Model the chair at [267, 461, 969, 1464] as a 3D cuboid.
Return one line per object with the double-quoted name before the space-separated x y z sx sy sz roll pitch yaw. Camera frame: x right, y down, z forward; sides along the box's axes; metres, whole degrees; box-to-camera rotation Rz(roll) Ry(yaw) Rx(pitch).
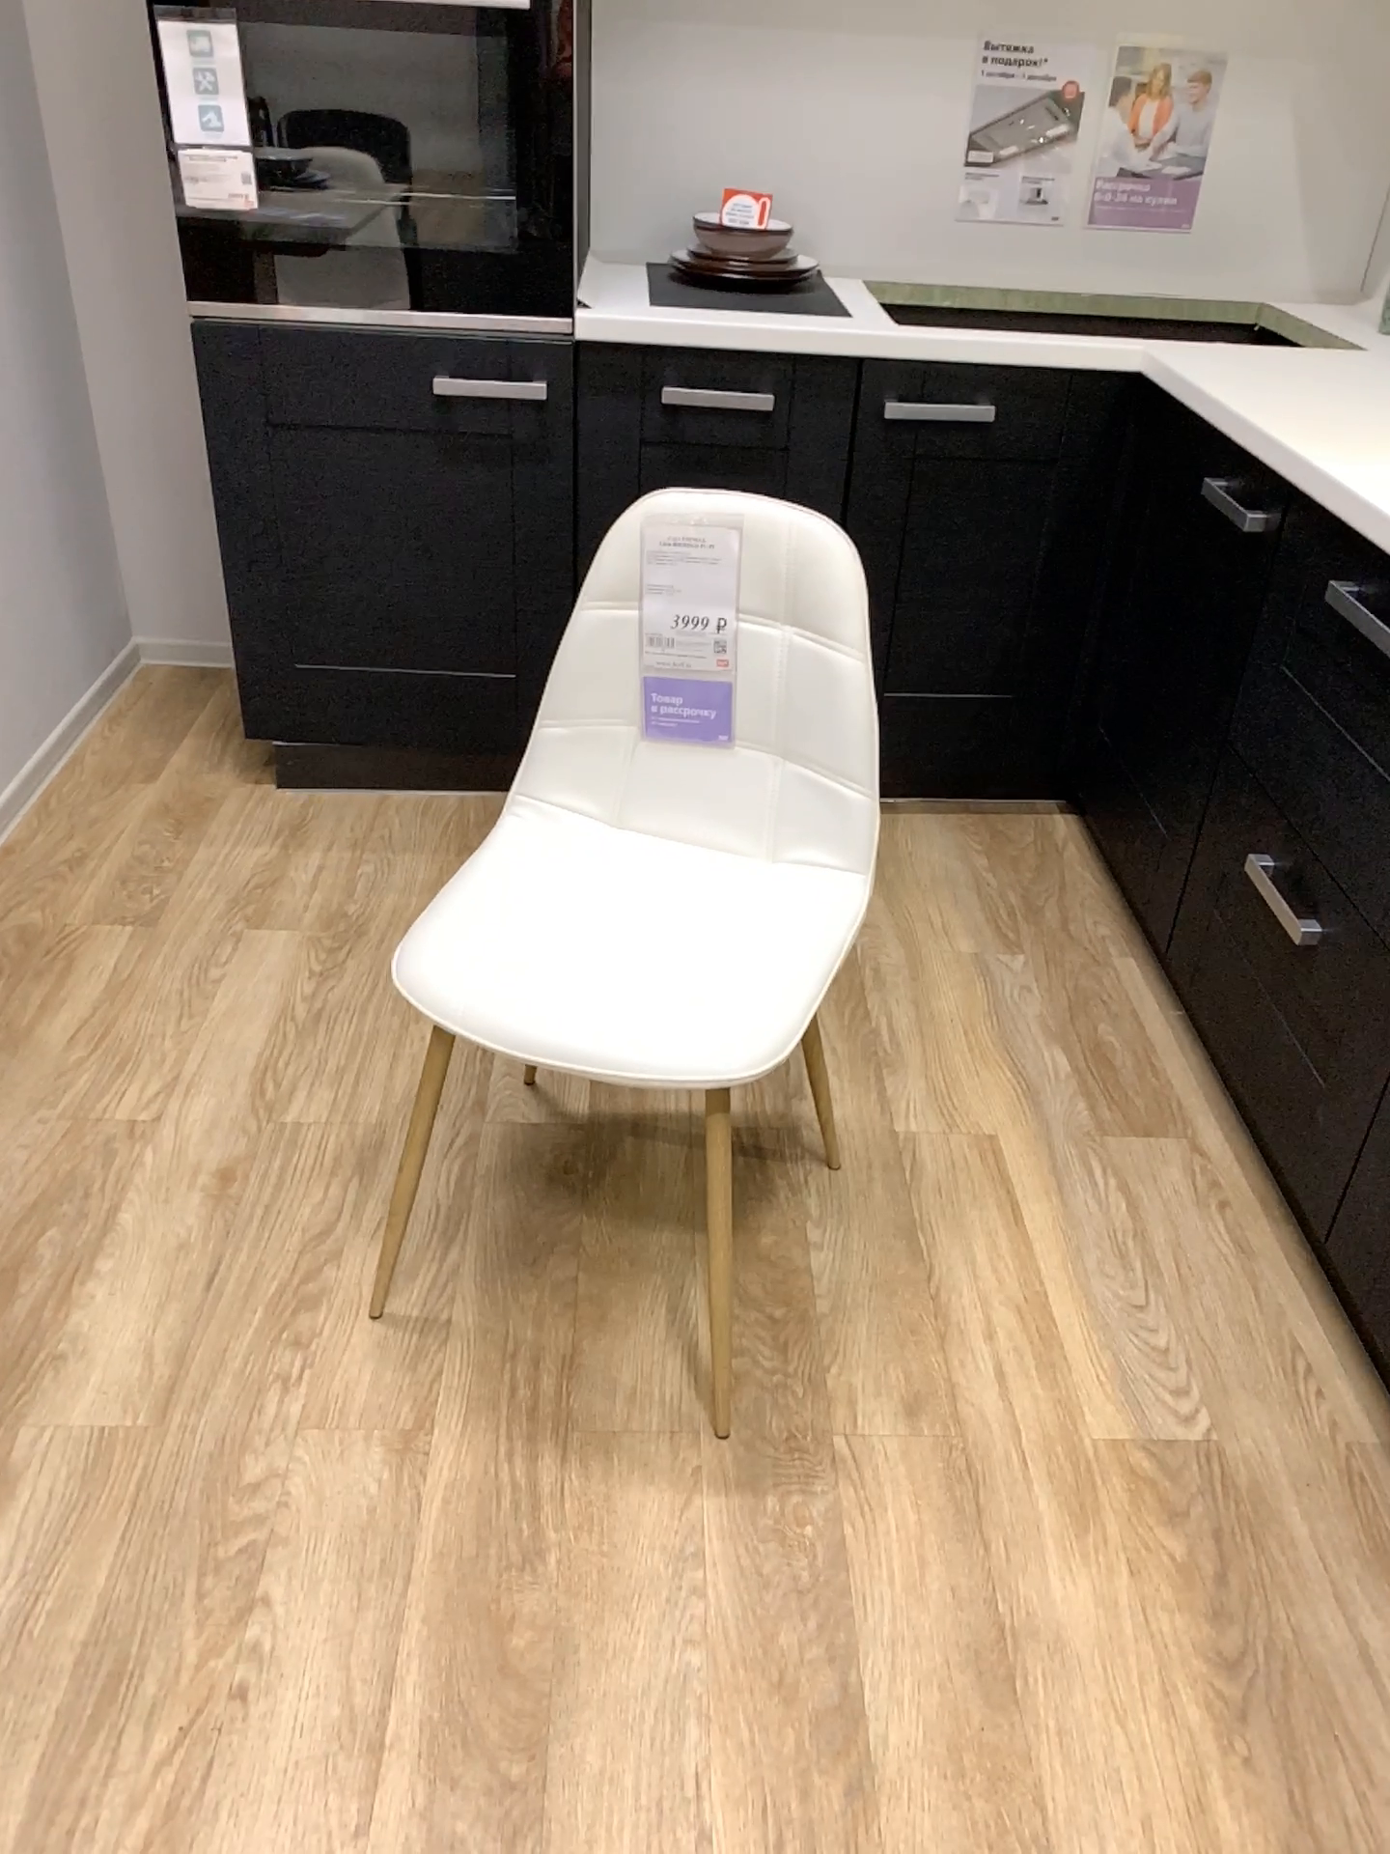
"chair" -0.052 0.014 1.542 0.470 0.825 0.573 13 34 15
